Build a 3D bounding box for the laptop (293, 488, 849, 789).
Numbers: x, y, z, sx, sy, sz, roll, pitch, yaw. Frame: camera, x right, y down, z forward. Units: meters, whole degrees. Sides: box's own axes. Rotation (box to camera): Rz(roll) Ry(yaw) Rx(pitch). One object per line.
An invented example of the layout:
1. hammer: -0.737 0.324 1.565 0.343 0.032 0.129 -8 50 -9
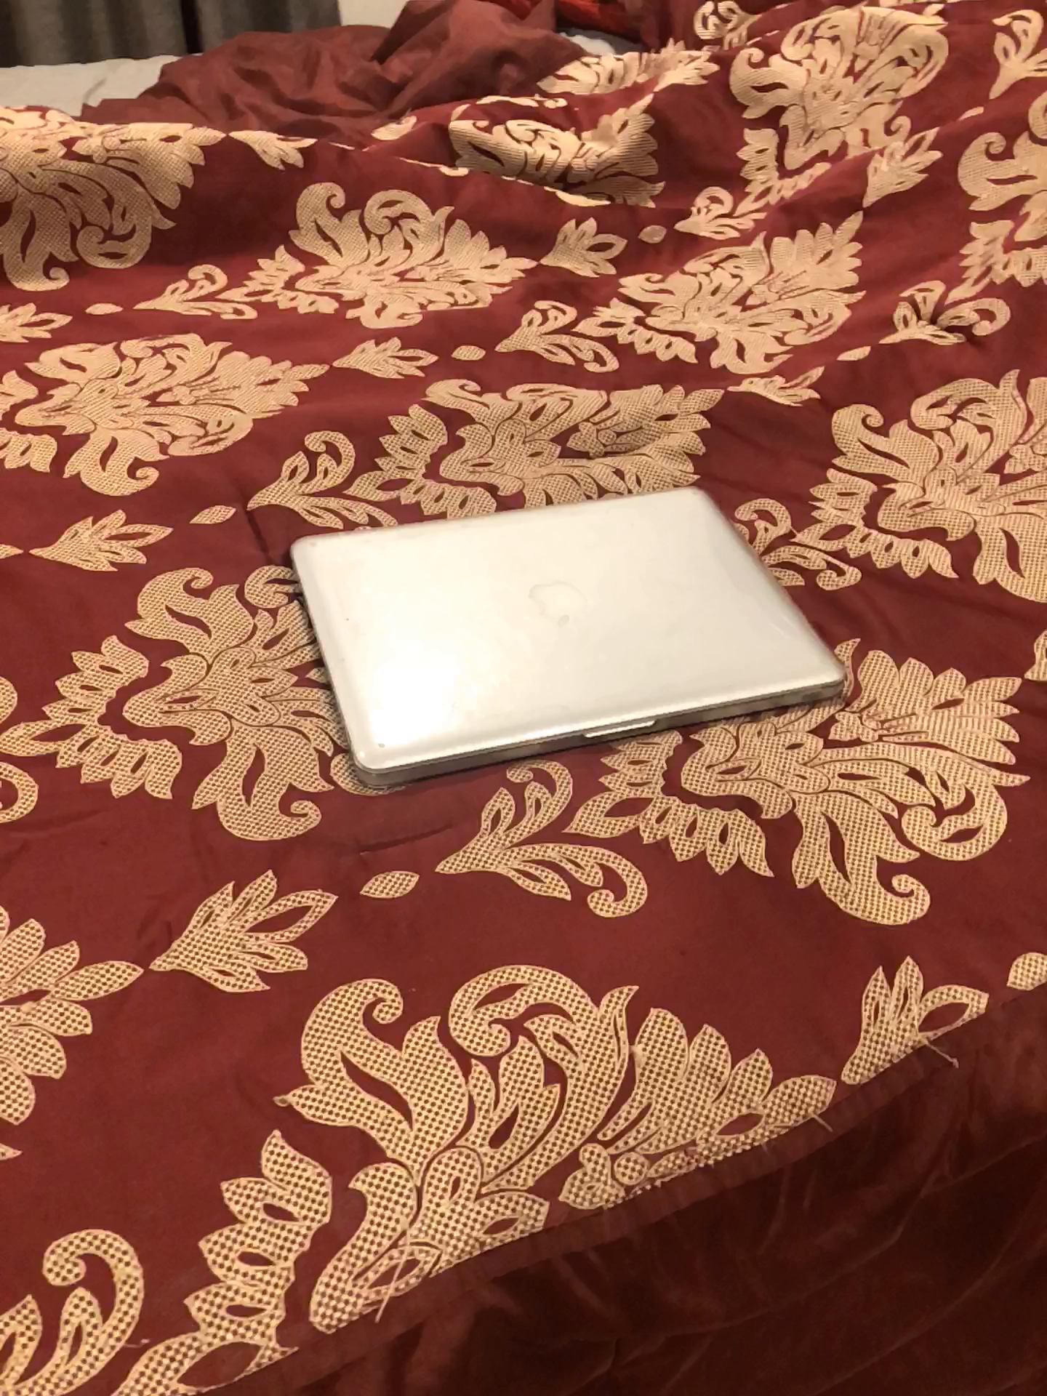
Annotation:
1. laptop: 0.024 -0.052 0.745 0.304 0.015 0.208 -11 46 -16
